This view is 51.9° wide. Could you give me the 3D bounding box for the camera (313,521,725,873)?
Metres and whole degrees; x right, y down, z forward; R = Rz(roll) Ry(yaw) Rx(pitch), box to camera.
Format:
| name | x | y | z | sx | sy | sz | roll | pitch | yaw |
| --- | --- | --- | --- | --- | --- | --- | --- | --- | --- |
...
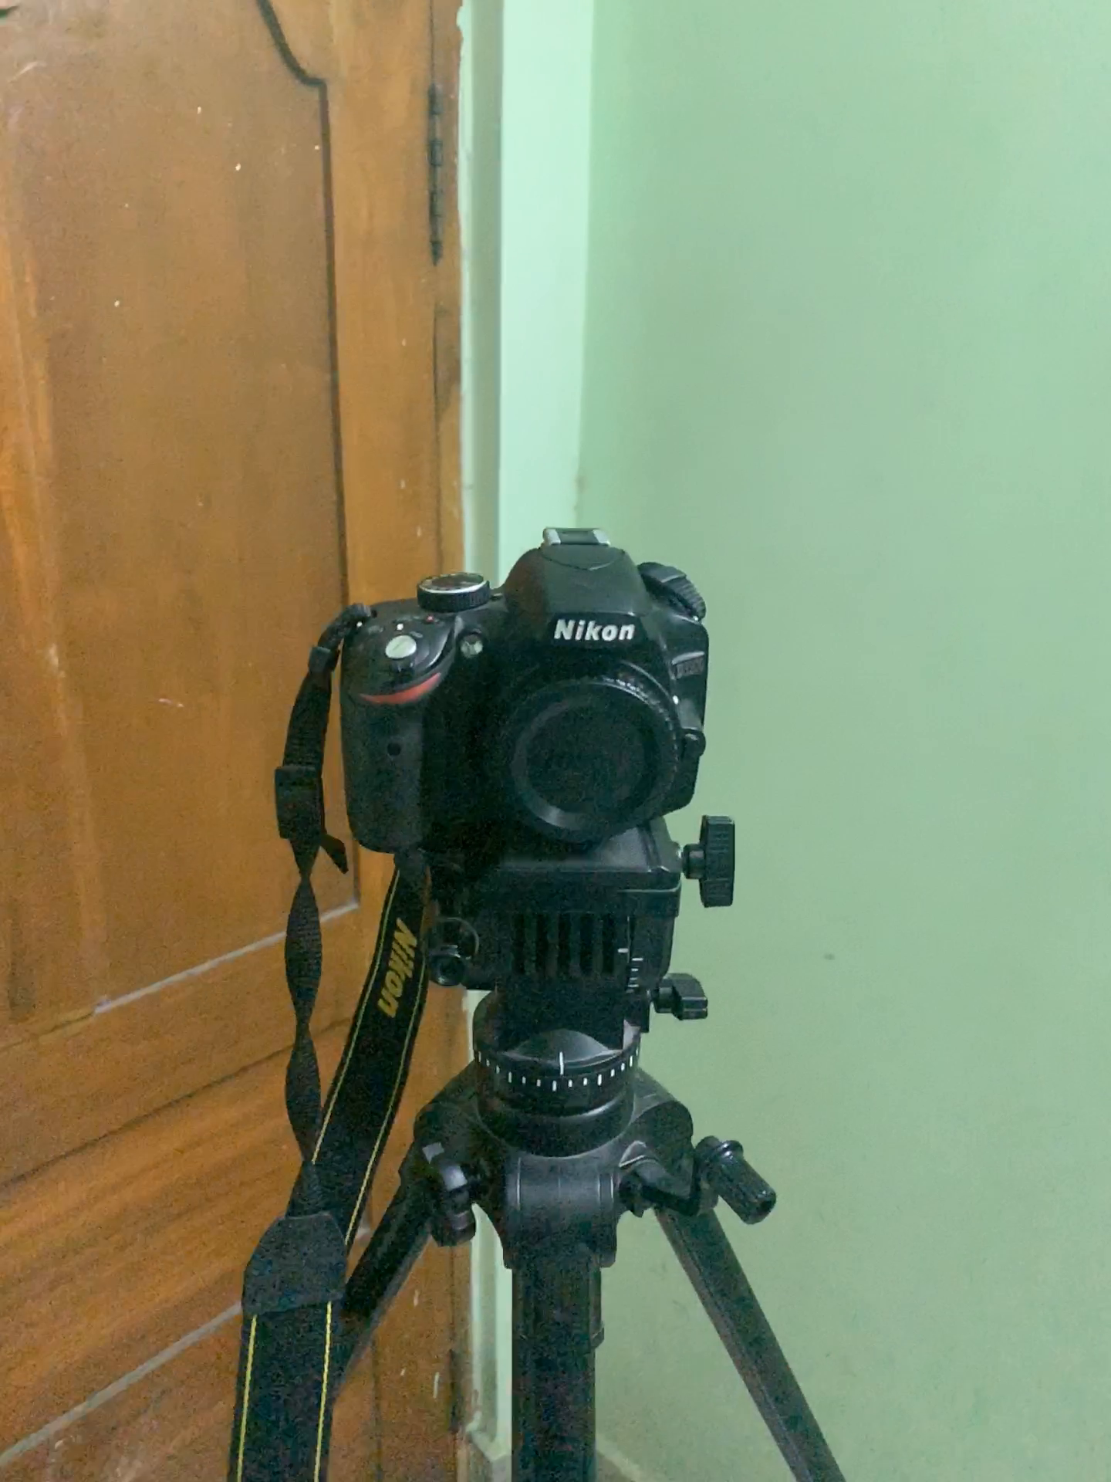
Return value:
| name | x | y | z | sx | sy | sz | roll | pitch | yaw |
| --- | --- | --- | --- | --- | --- | --- | --- | --- | --- |
| camera | -0.014 | -0.019 | 0.381 | 0.118 | 0.096 | 0.086 | -1 | 18 | -5 |
